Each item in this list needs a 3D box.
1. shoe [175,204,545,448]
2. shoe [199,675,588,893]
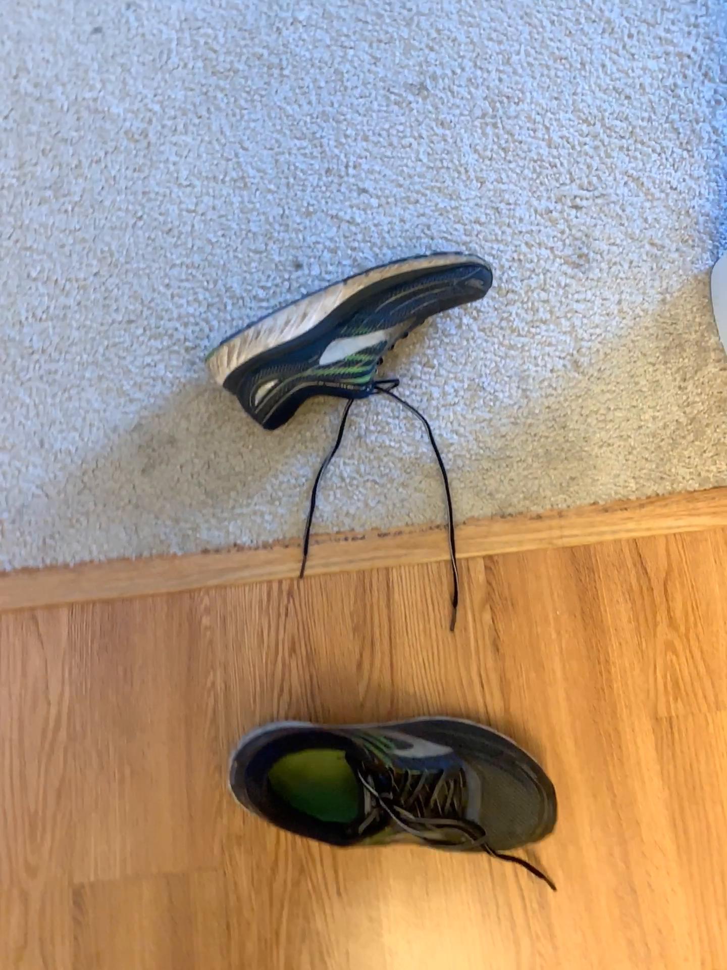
[{"bbox_3d":[-0.005,-0.146,0.717,0.310,0.110,0.120,-21,95,-5],"label":"shoe"},{"bbox_3d":[0.027,0.262,0.677,0.311,0.123,0.120,9,78,2],"label":"shoe"}]
